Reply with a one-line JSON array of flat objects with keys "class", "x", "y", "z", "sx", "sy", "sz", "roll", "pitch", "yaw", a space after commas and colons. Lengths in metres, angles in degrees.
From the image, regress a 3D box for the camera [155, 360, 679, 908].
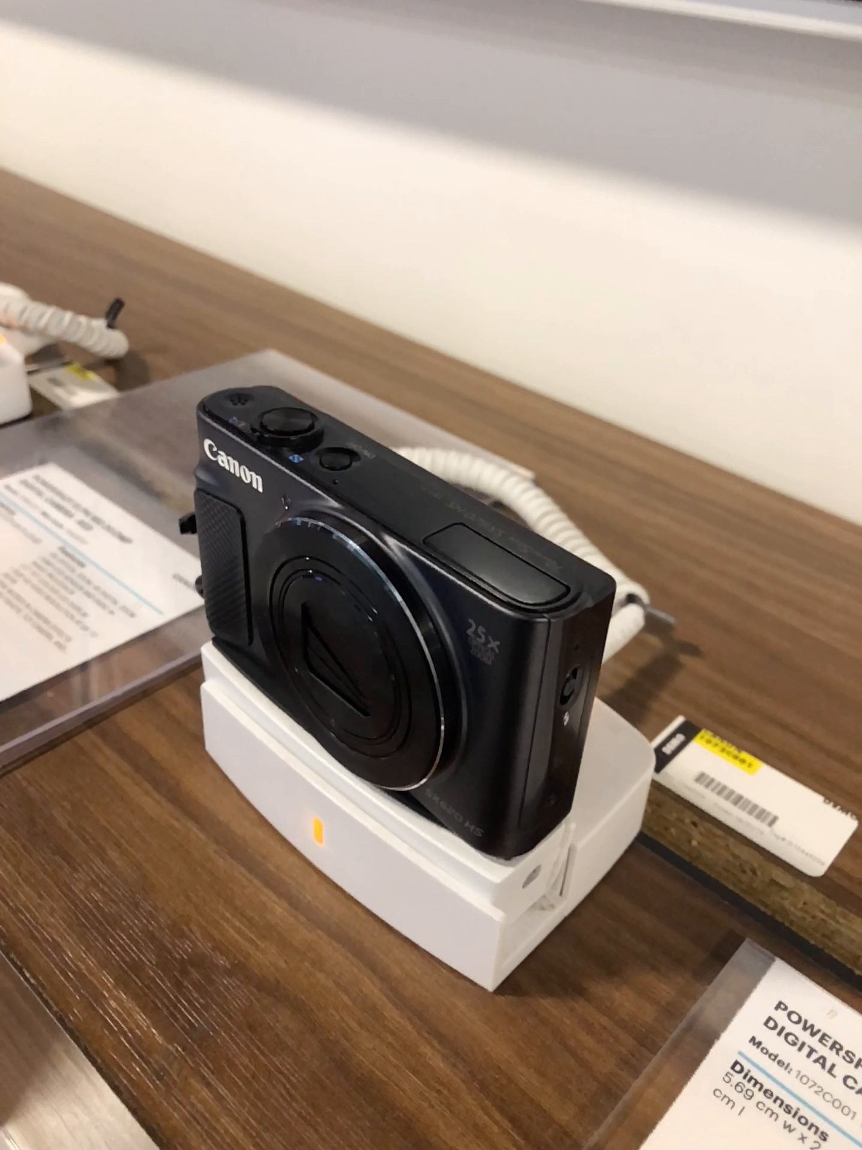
[{"class": "camera", "x": -0.010, "y": 0.005, "z": 0.187, "sx": 0.100, "sy": 0.060, "sz": 0.030, "roll": 31, "pitch": 40, "yaw": 33}]
